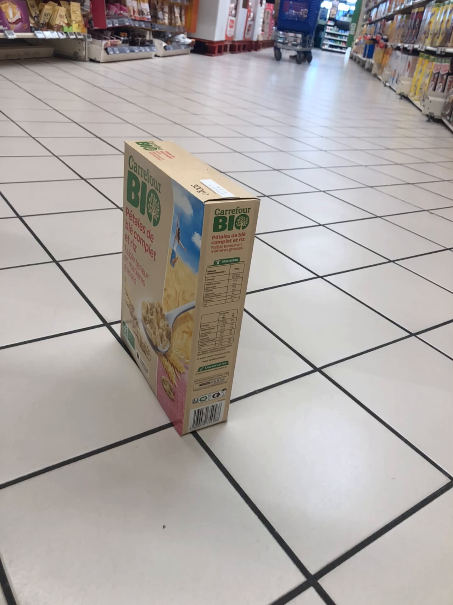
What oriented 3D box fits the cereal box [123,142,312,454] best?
[{"bbox_3d":[-0.031,-0.016,0.513,0.080,0.239,0.210,-7,32,-28],"label":"cereal box"}]
